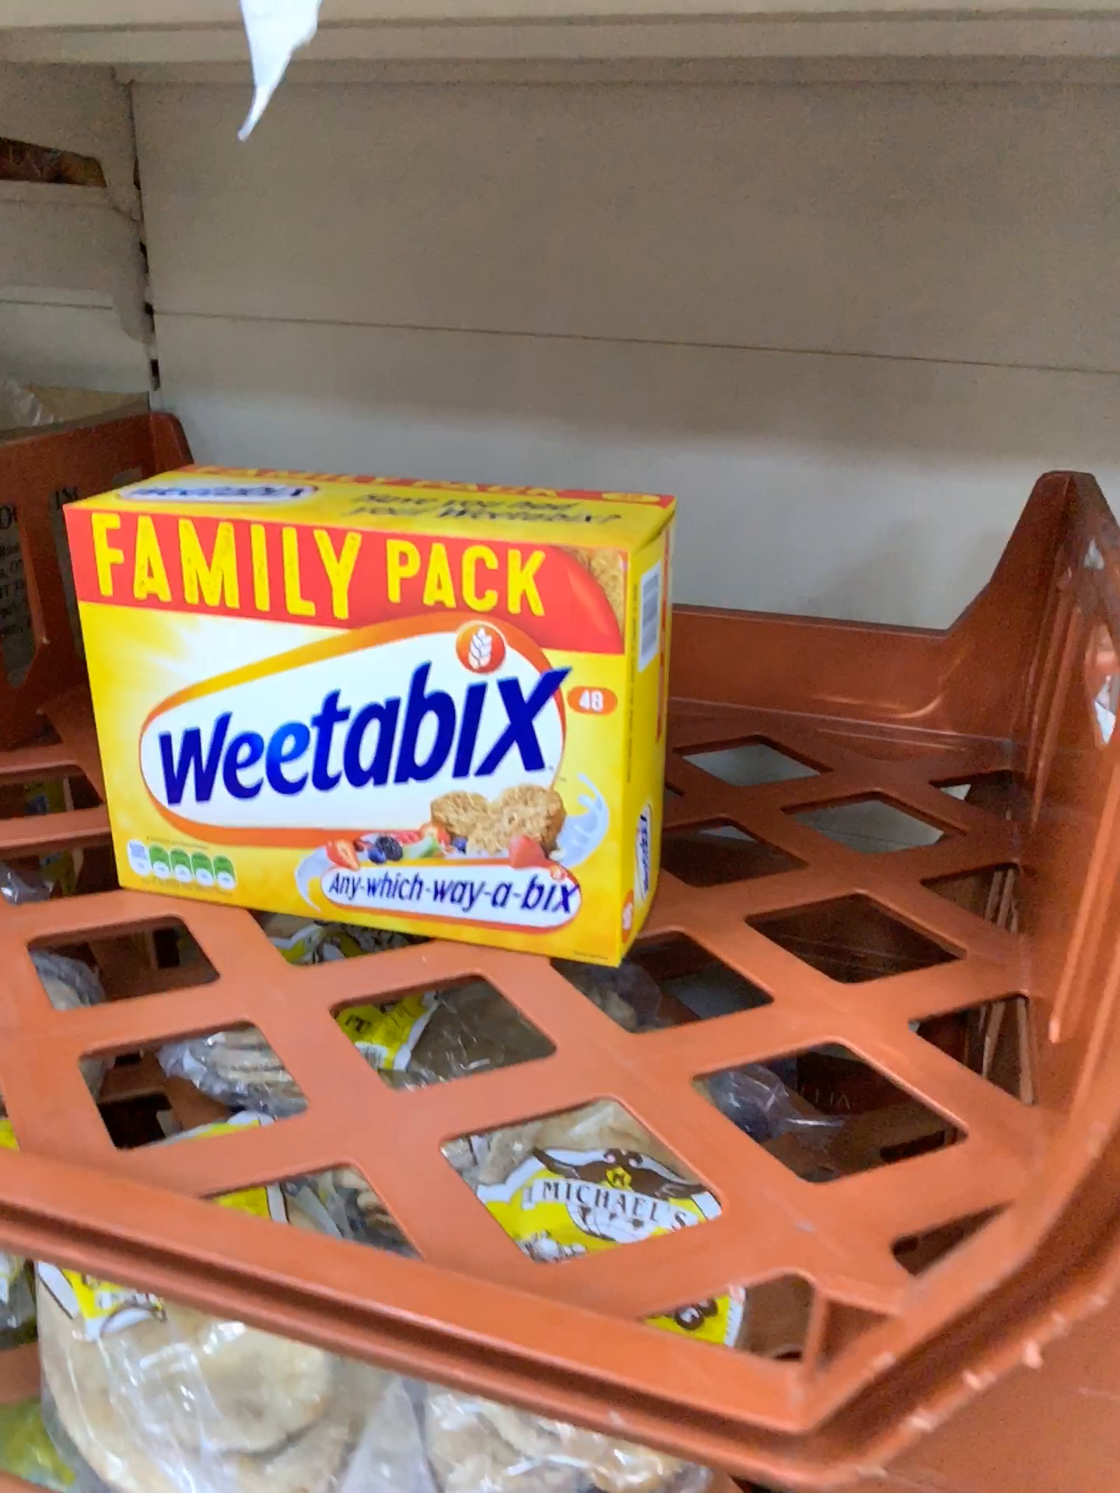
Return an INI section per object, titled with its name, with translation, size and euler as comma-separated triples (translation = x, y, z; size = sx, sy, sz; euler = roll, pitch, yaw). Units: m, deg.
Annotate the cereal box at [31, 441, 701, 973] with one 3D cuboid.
[cereal box]
translation = -0.079, -0.027, 0.520
size = 0.260, 0.188, 0.101
euler = 7, 24, 13
